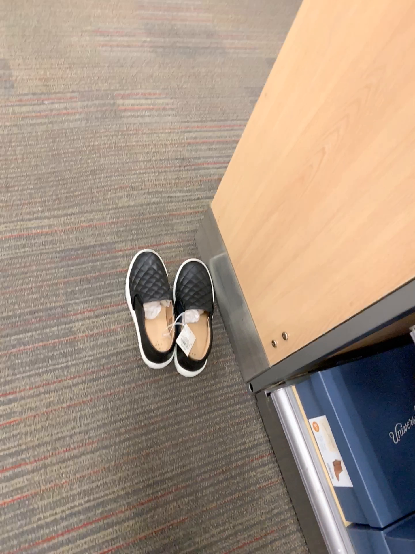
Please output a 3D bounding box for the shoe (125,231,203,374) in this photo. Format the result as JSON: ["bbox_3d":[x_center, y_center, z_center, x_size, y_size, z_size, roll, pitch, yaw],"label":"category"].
[{"bbox_3d":[-0.095,0.047,0.850,0.100,0.100,0.260,-5,66,-19],"label":"shoe"}]

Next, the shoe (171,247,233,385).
[{"bbox_3d":[-0.013,0.081,0.884,0.100,0.100,0.261,7,63,-13],"label":"shoe"}]
